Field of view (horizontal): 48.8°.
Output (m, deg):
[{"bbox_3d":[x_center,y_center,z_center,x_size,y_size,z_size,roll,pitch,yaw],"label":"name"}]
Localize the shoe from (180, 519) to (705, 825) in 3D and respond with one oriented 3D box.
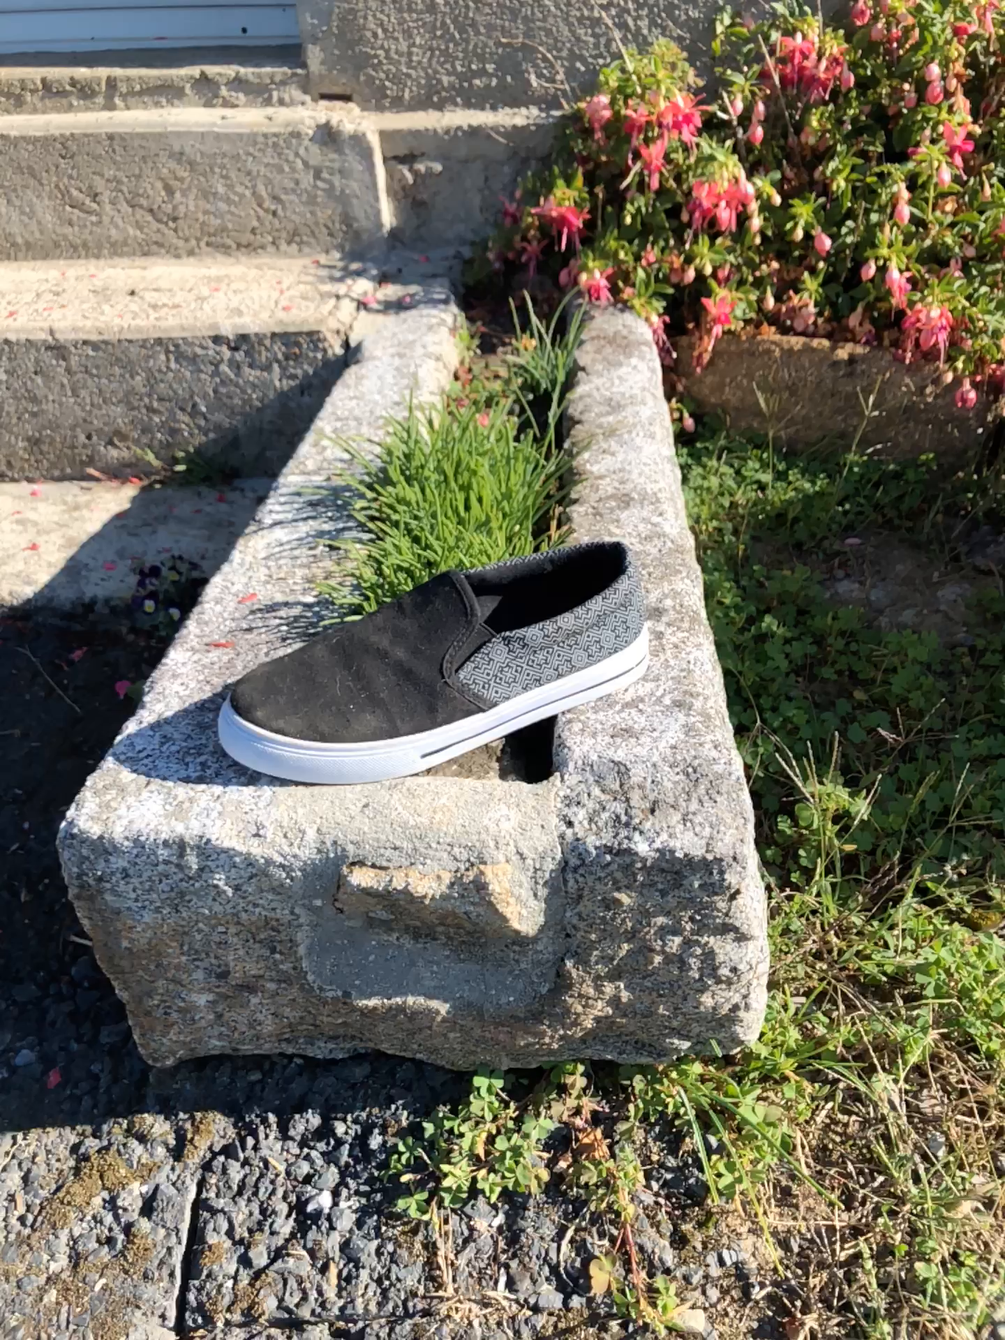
[{"bbox_3d":[-0.032,-0.006,0.606,0.261,0.080,0.100,-11,33,-15],"label":"shoe"}]
